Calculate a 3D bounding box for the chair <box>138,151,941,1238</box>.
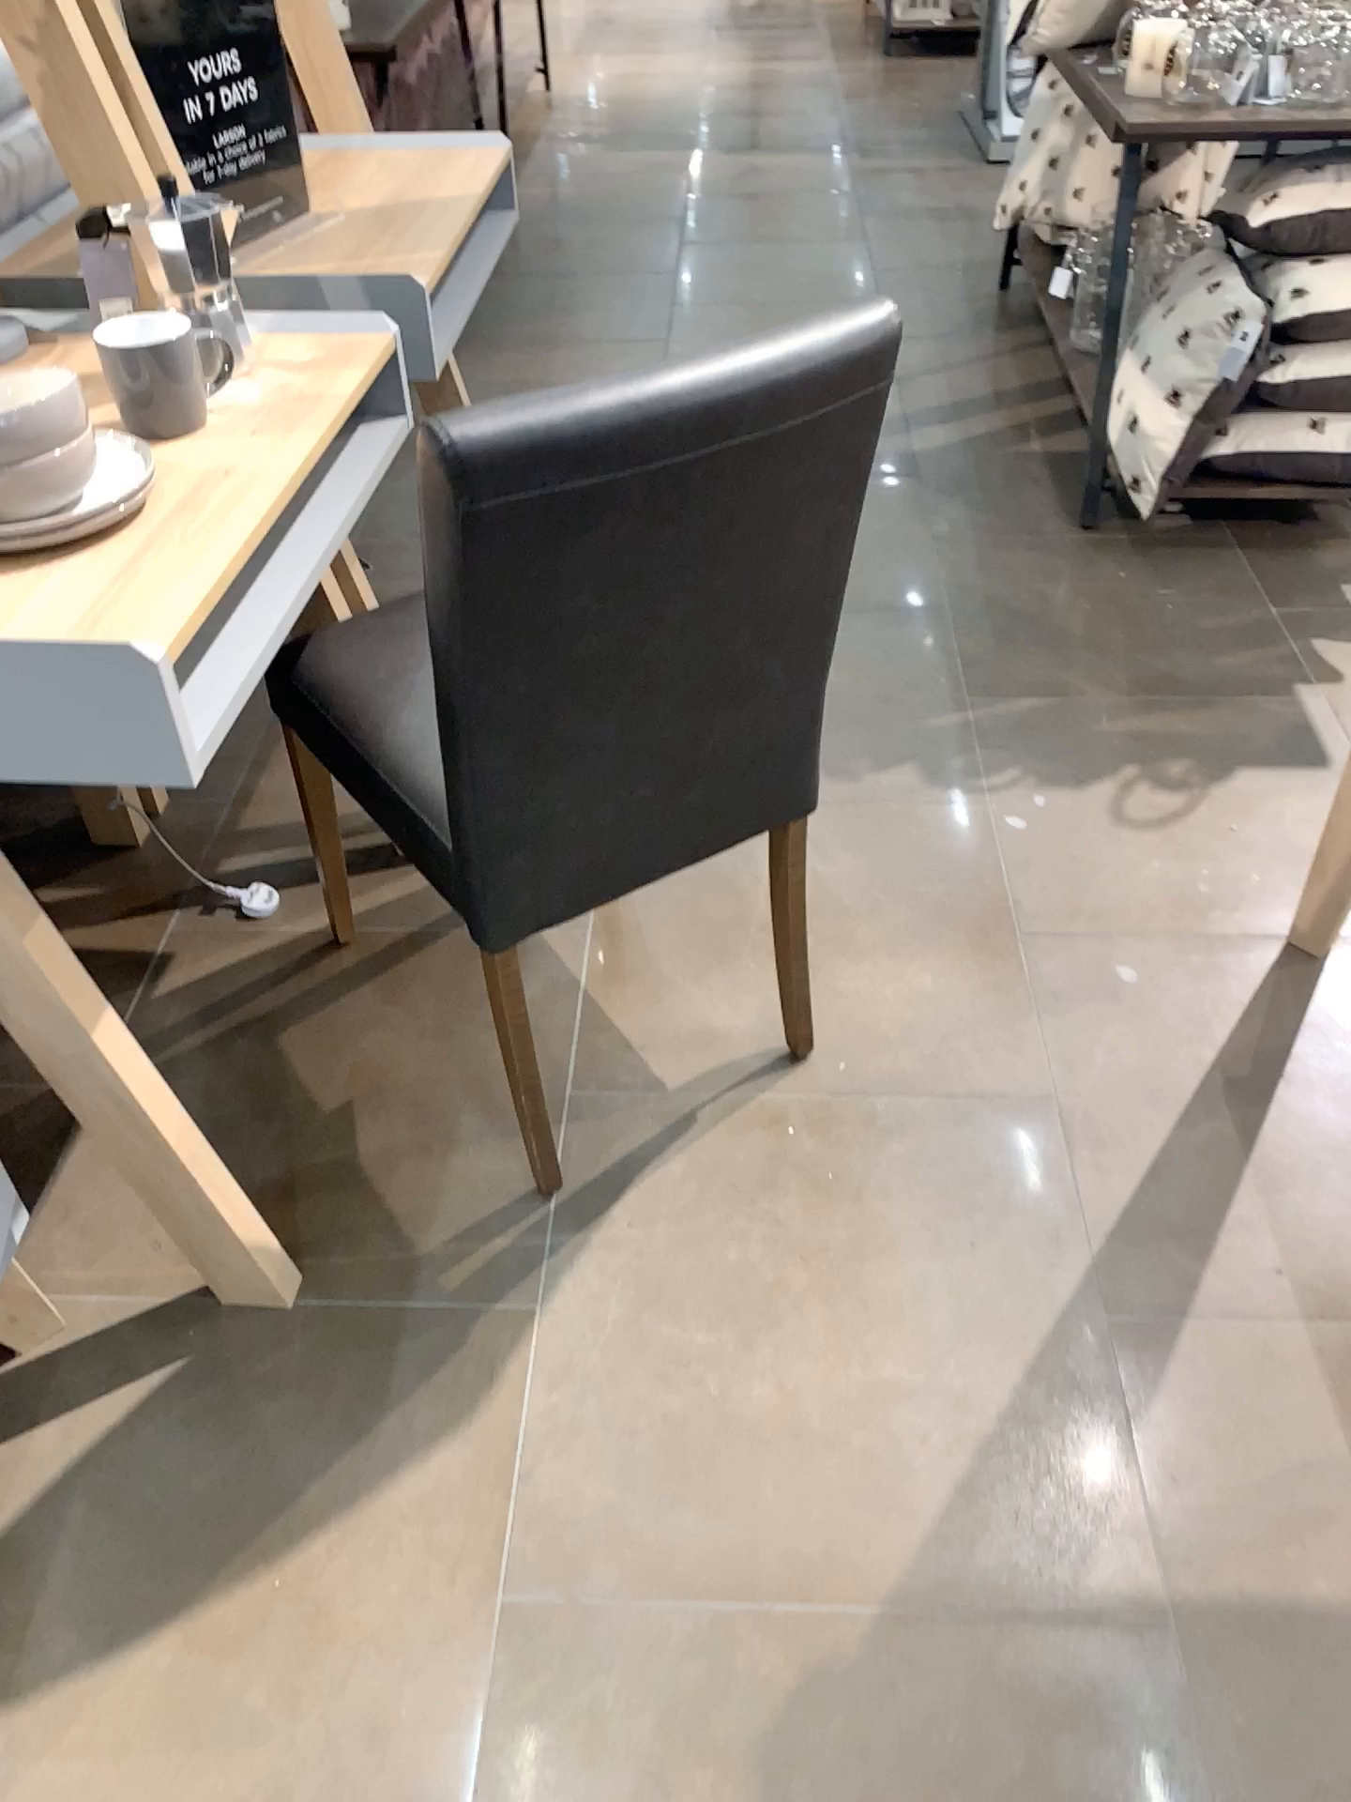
[{"bbox_3d":[-0.136,-0.225,1.482,0.458,0.886,0.609,-25,45,-25],"label":"chair"}]
